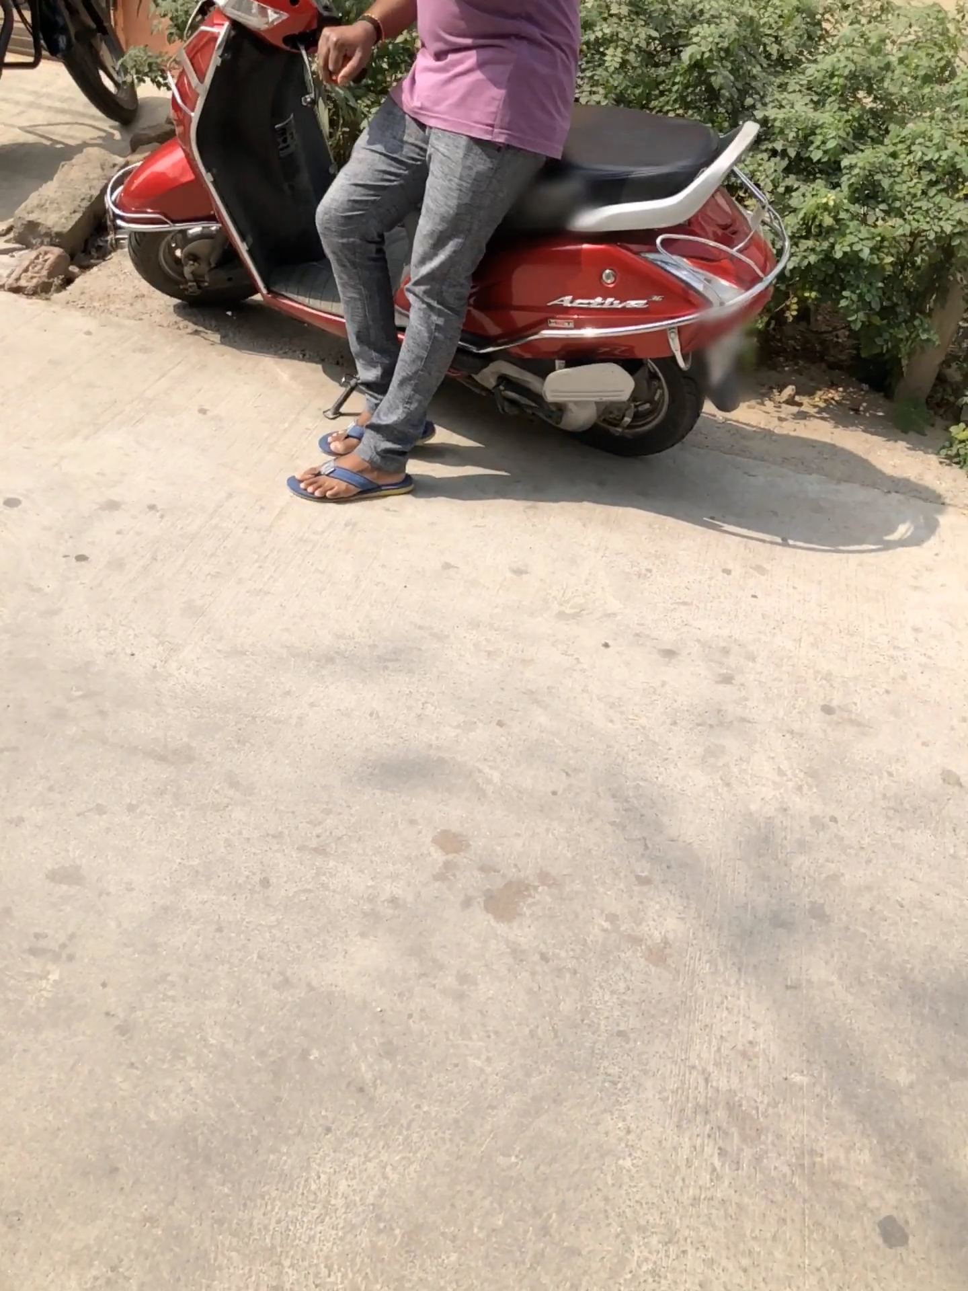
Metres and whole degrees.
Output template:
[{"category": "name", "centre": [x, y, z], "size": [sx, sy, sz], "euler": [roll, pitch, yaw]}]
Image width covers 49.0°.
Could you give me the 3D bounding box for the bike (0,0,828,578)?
[{"category": "bike", "centre": [-0.222, -1.025, 2.405], "size": [1.581, 1.157, 0.626], "euler": [19, 39, 15]}]
